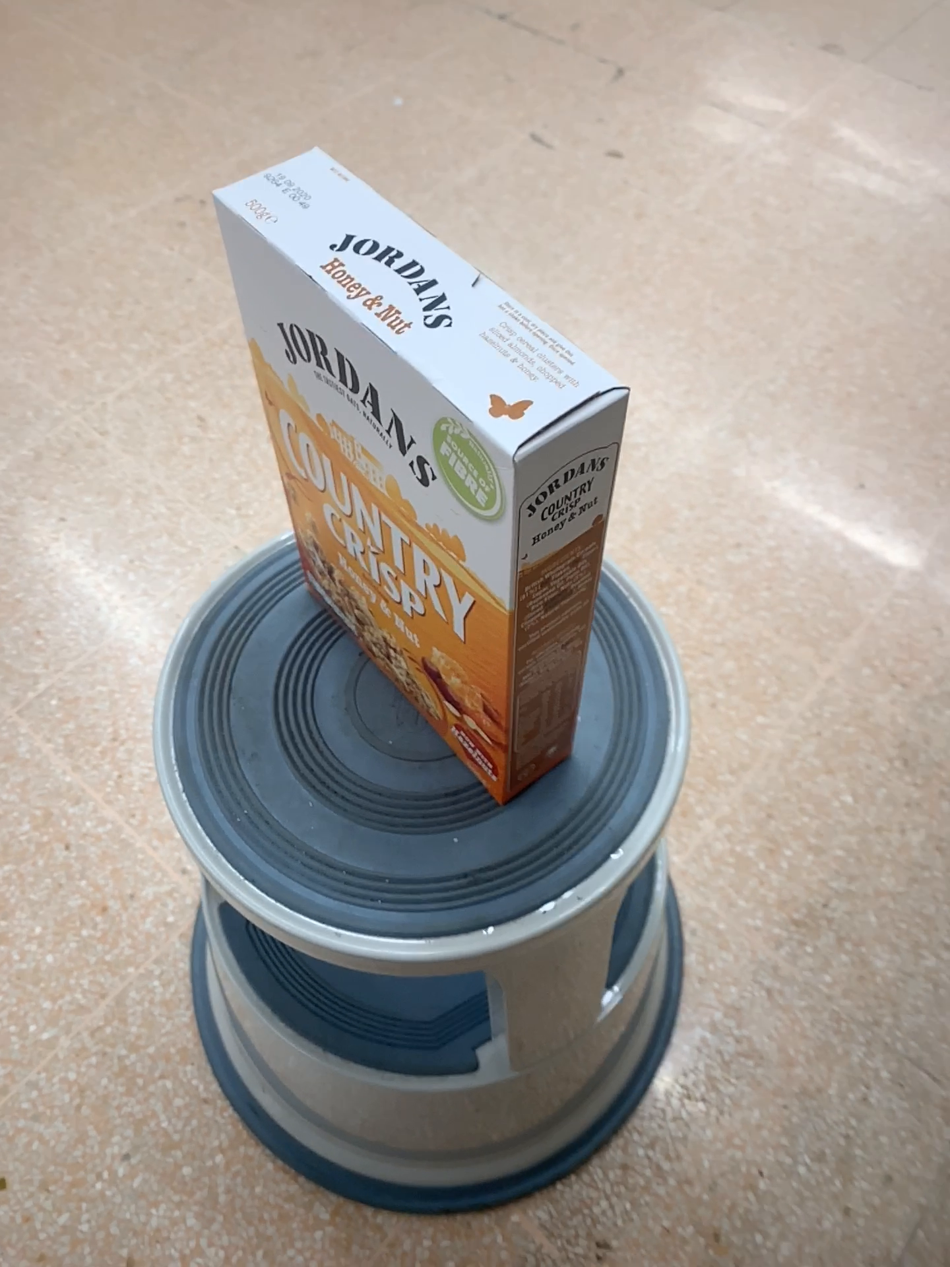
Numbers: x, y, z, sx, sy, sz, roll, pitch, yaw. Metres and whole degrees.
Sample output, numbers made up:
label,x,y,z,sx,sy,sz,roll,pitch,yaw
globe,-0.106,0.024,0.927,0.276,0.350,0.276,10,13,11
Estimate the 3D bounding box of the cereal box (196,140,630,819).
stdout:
label,x,y,z,sx,sy,sz,roll,pitch,yaw
cereal box,-0.029,-0.049,0.442,0.050,0.258,0.181,-33,62,-21
